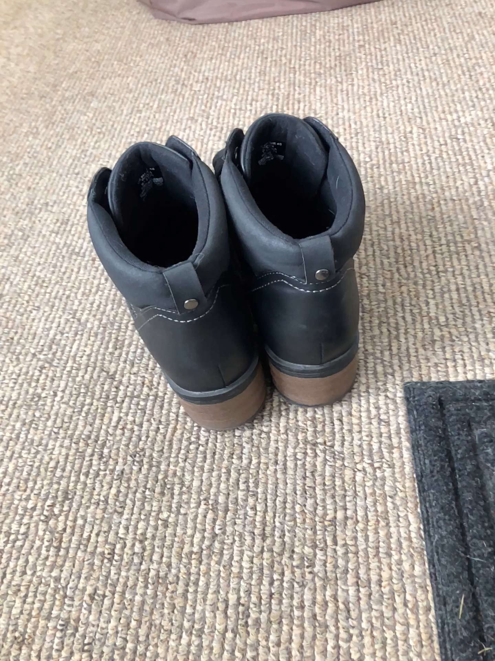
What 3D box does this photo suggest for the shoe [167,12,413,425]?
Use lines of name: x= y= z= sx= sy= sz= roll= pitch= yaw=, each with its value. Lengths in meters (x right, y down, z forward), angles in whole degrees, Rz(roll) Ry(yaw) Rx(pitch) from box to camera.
shoe: x=0.019 y=-0.095 z=0.421 sx=0.094 sy=0.162 sz=0.274 roll=-14 pitch=51 yaw=-2

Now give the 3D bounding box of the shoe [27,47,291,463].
shoe: x=-0.071 y=-0.067 z=0.418 sx=0.097 sy=0.165 sz=0.268 roll=-21 pitch=51 yaw=-8
